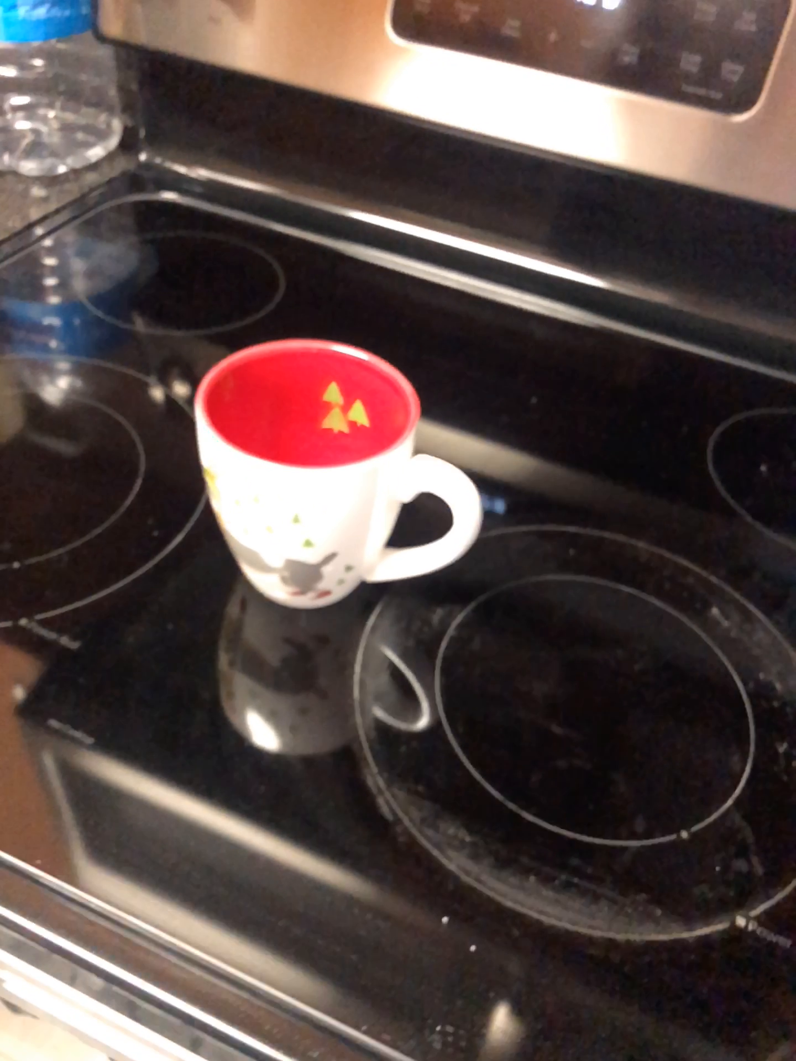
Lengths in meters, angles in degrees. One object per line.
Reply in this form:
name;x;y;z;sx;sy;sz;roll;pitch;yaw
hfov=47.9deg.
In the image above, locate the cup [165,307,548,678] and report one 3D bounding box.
cup;-0.018;-0.021;0.428;0.140;0.100;0.100;19;45;12
